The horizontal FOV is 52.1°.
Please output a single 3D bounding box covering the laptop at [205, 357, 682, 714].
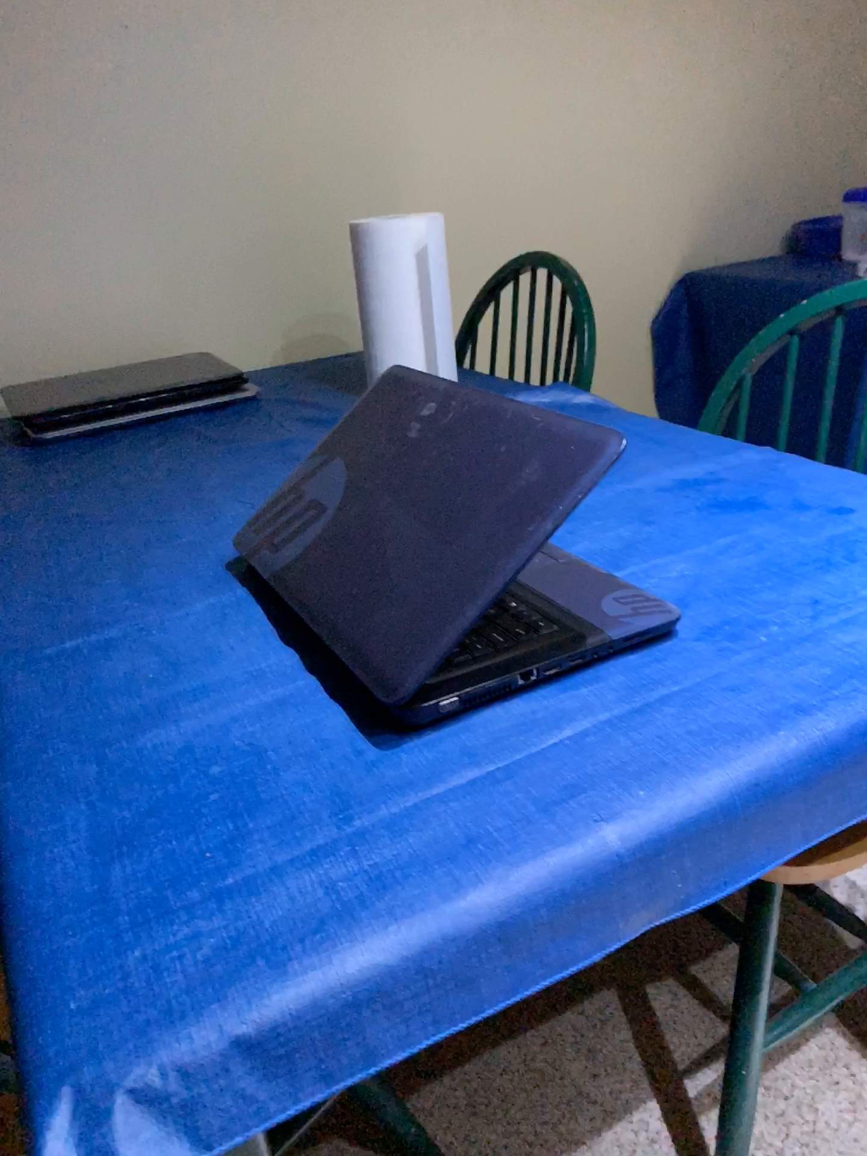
[{"bbox_3d":[-0.011,-0.070,0.738,0.239,0.141,0.364,-16,27,-24],"label":"laptop"}]
